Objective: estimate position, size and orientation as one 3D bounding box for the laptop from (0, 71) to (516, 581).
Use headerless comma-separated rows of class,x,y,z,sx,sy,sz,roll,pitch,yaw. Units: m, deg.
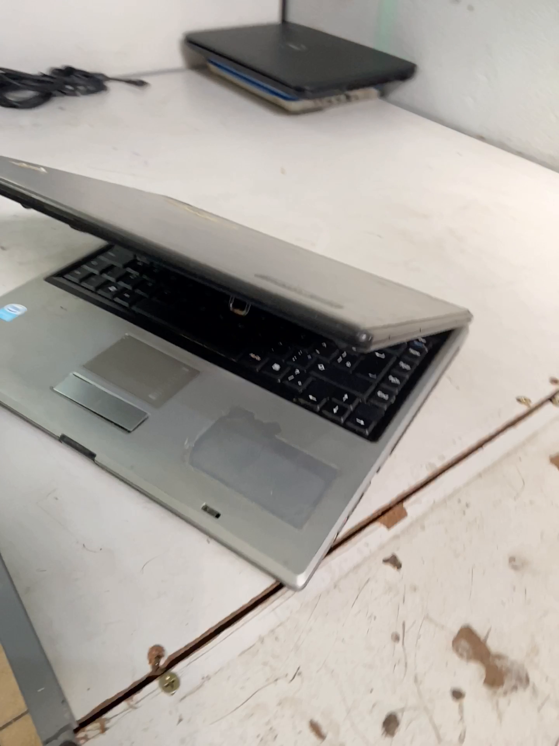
laptop,-0.049,-0.078,0.396,0.317,0.130,0.255,25,47,24
